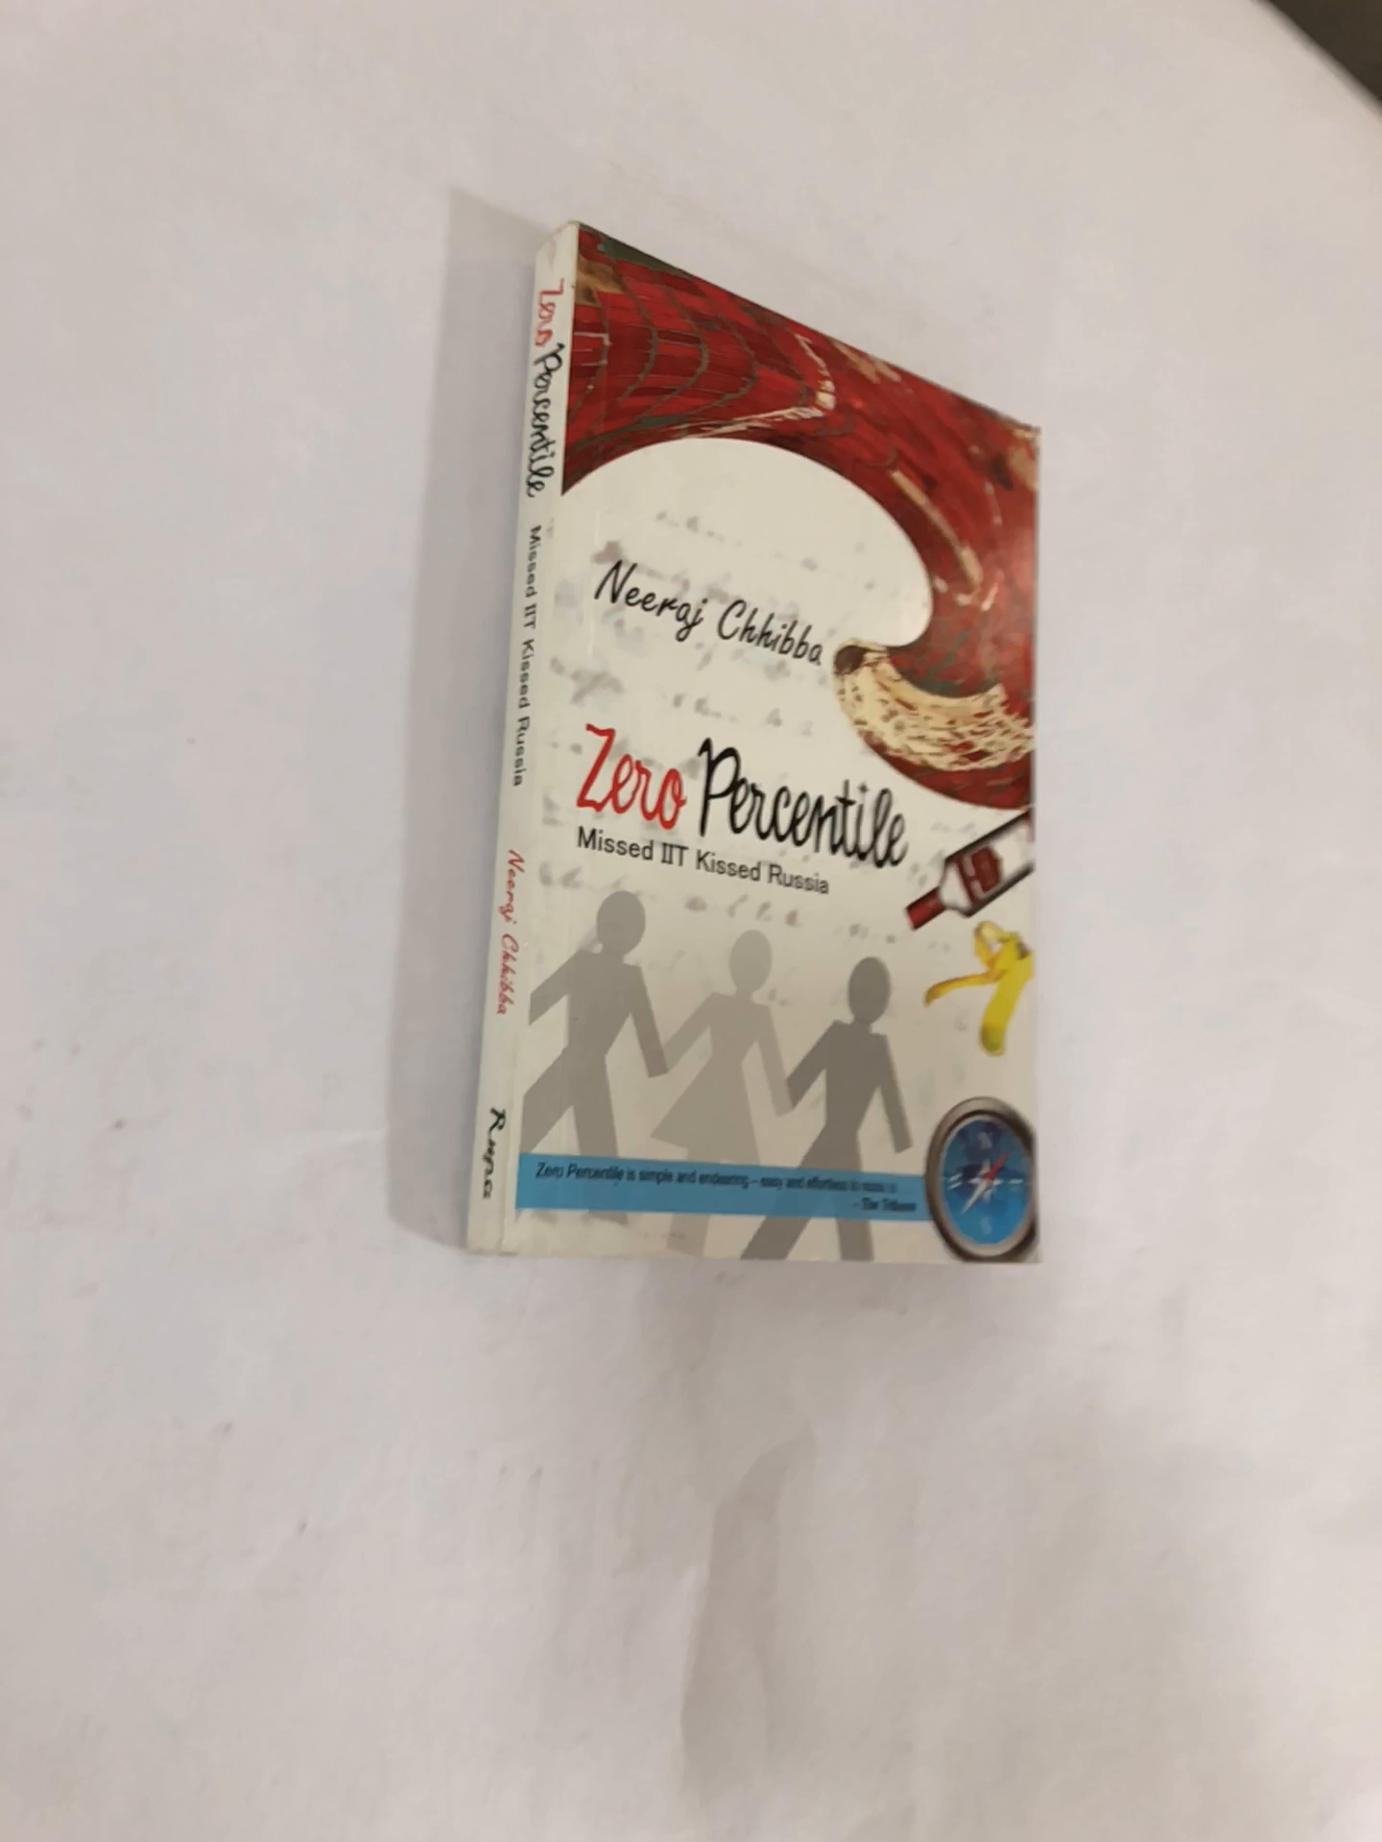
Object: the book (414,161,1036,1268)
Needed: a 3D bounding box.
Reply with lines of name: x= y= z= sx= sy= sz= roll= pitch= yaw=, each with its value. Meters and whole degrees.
book: x=0.016 y=-0.033 z=0.316 sx=0.133 sy=0.021 sz=0.200 roll=10 pitch=77 yaw=-34
